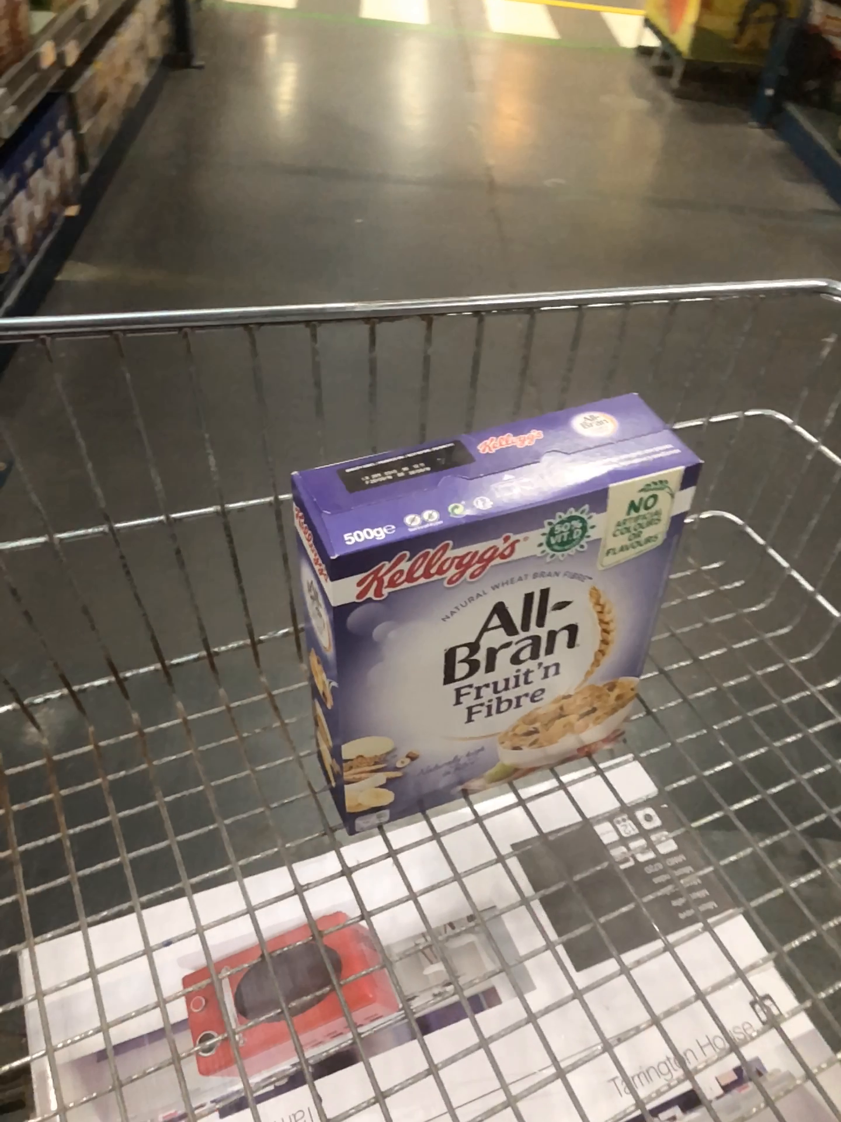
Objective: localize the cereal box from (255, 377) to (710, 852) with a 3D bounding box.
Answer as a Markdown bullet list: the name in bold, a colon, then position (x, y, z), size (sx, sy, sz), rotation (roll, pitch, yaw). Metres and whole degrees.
- **cereal box**: position (0.028, 0.036, 0.519), size (0.200, 0.229, 0.080), rotation (-16, 47, -17)
